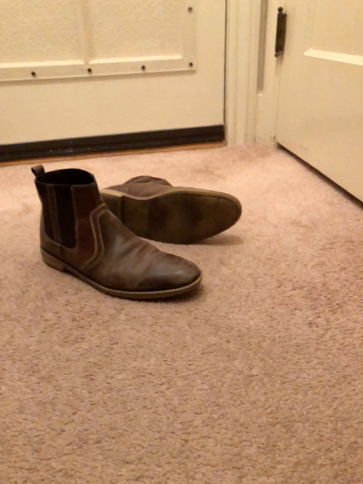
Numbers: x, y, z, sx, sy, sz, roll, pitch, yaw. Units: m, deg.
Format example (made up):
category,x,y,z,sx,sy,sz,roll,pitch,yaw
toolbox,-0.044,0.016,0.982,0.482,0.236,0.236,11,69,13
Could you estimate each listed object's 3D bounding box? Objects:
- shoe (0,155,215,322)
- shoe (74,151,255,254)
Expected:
category,x,y,z,sx,sy,sz,roll,pitch,yaw
shoe,-0.112,-0.019,0.634,0.308,0.175,0.116,12,32,24
shoe,-0.024,-0.094,0.820,0.313,0.114,0.187,7,32,16
